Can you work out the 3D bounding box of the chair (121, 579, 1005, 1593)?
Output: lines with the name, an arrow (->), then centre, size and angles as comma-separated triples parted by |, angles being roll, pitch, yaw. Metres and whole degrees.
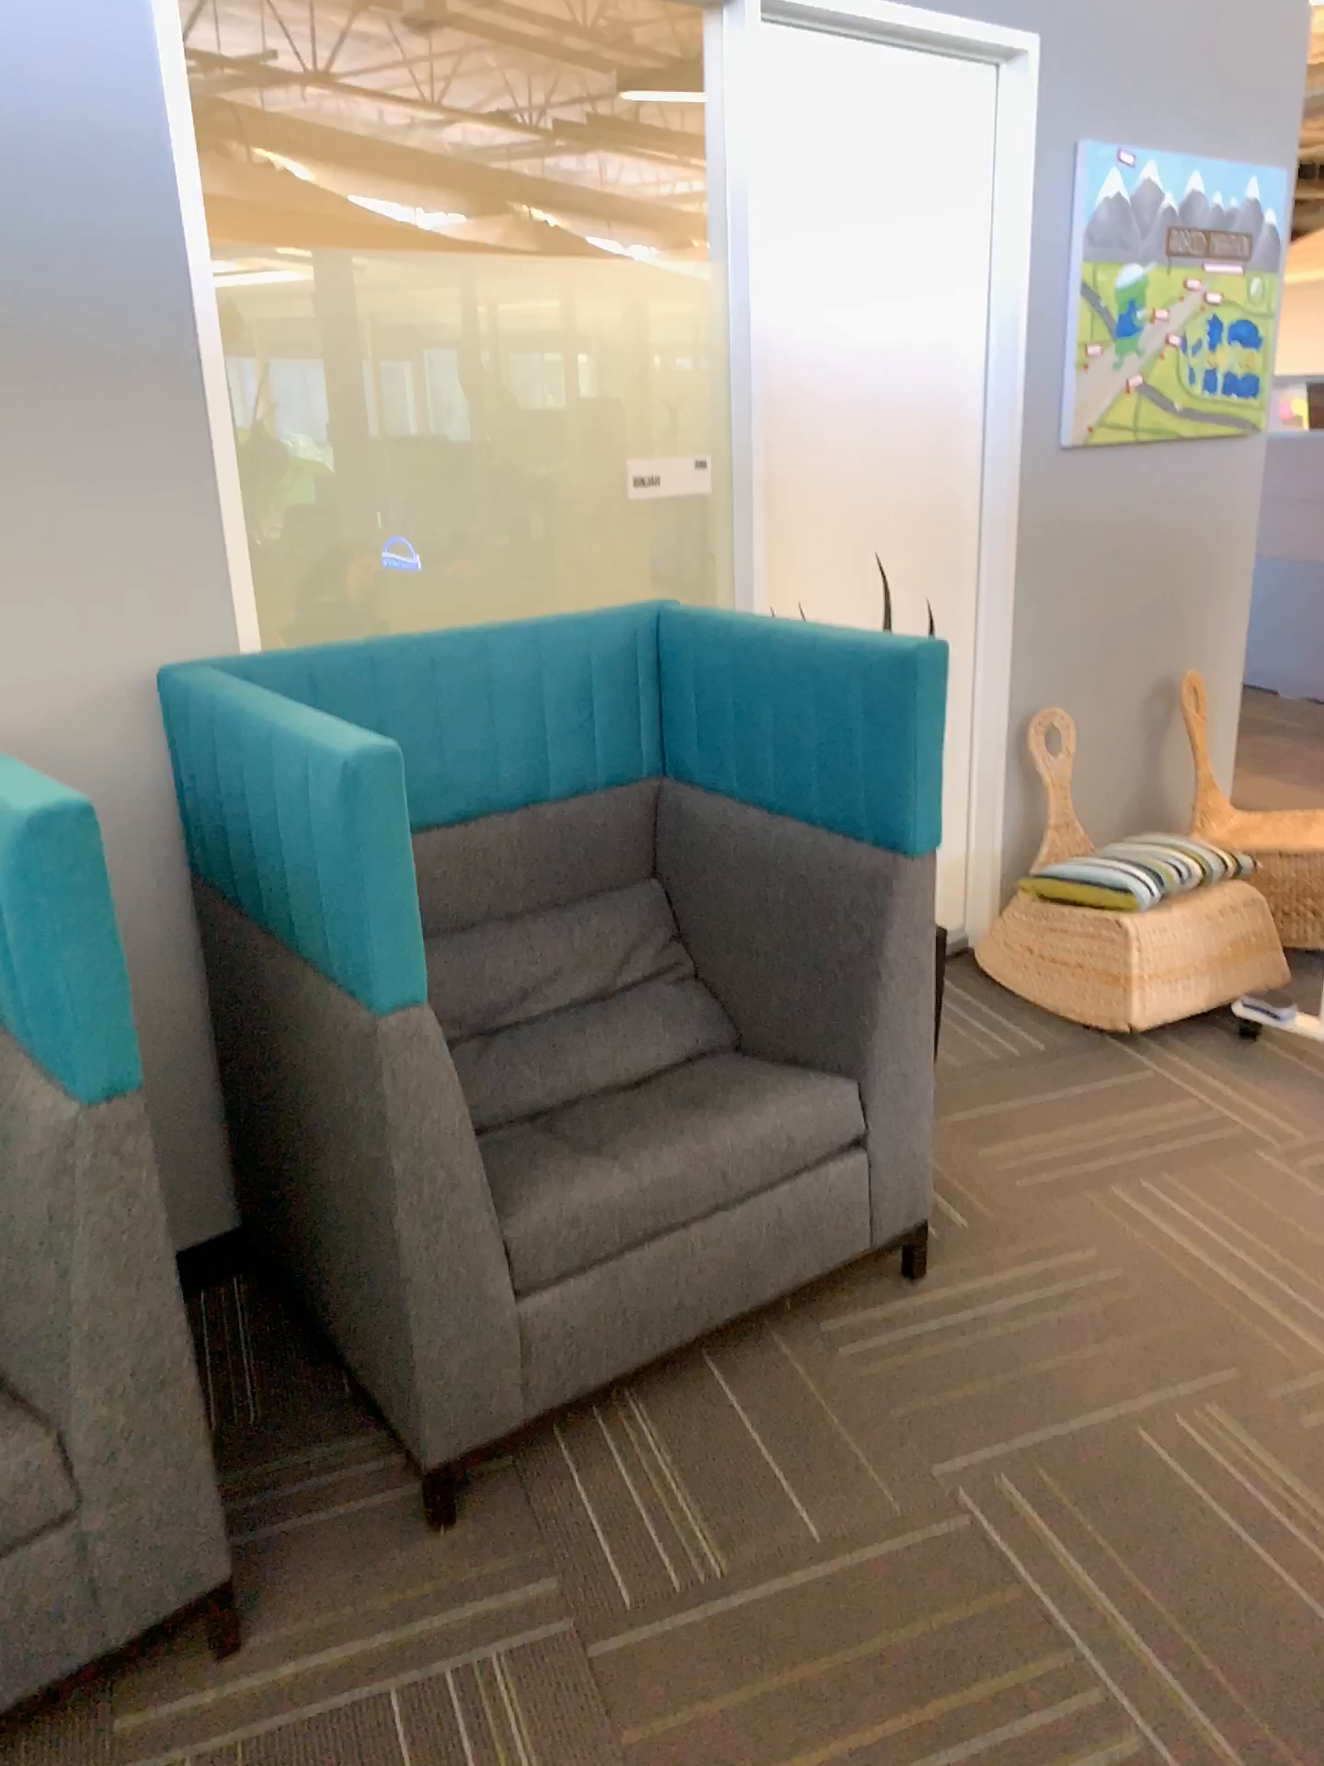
chair -> -0.172, 0.175, 2.375 | 1.050, 1.214, 1.015 | -15, 23, -33
